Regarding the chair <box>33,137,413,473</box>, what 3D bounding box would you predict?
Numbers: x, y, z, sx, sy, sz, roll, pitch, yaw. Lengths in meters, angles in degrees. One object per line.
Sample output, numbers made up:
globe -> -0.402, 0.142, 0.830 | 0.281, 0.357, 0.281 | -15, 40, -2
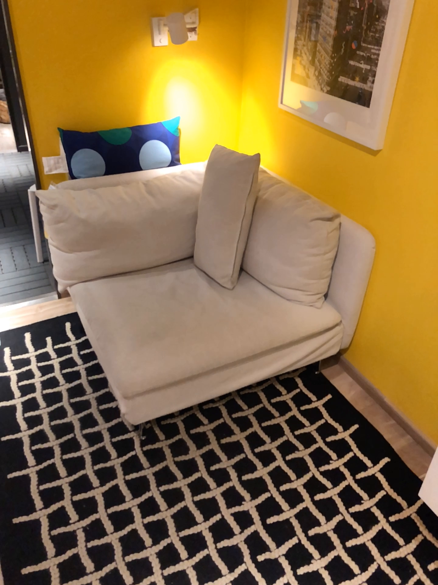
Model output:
chair -> -0.056, -0.080, 2.043 | 1.112, 0.755, 1.016 | -14, 37, -23
